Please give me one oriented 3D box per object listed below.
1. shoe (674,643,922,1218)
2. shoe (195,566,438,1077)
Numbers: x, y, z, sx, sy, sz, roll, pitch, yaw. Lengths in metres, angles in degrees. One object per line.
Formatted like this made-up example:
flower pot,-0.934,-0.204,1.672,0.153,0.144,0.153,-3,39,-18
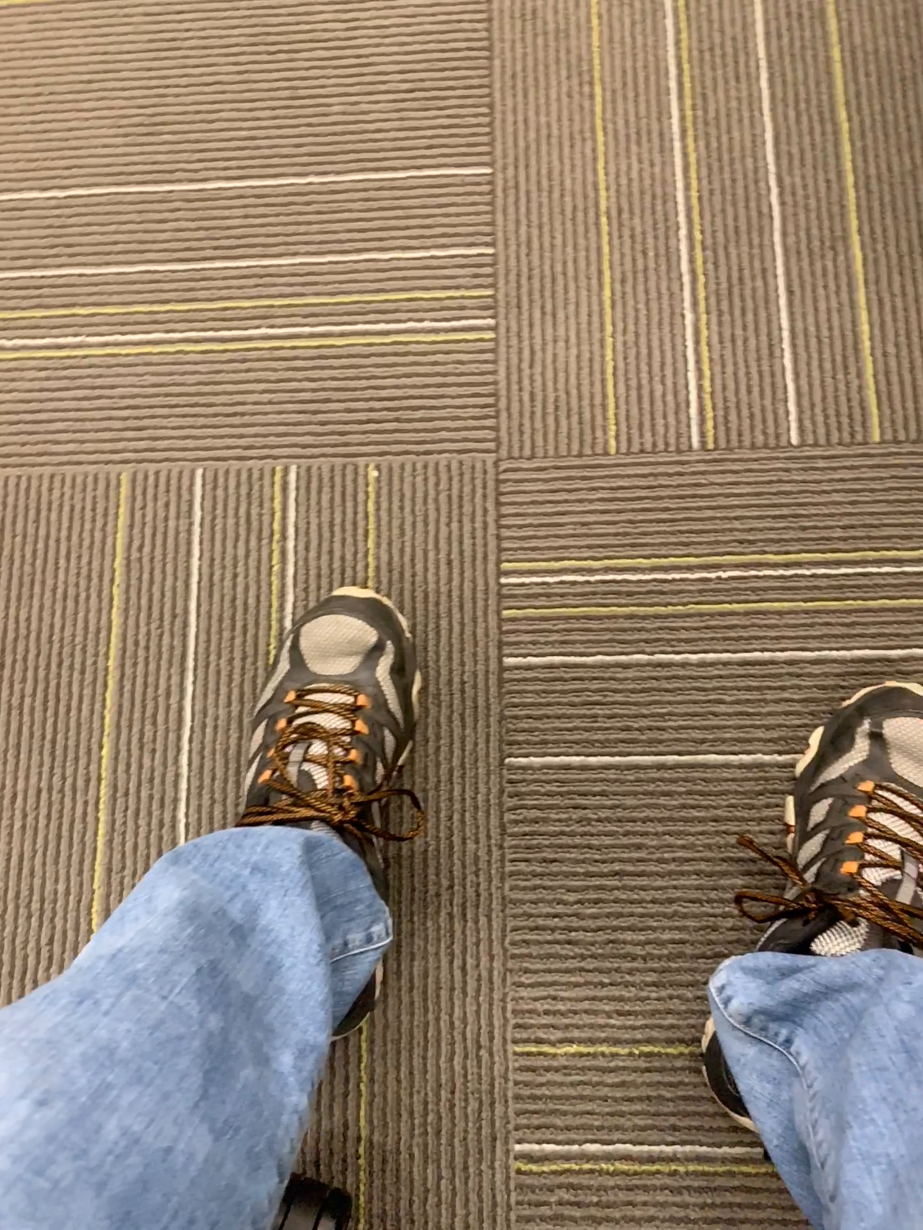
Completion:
shoe,0.268,0.196,0.637,0.122,0.095,0.322,23,82,8
shoe,-0.094,0.136,0.672,0.125,0.095,0.323,3,80,4
